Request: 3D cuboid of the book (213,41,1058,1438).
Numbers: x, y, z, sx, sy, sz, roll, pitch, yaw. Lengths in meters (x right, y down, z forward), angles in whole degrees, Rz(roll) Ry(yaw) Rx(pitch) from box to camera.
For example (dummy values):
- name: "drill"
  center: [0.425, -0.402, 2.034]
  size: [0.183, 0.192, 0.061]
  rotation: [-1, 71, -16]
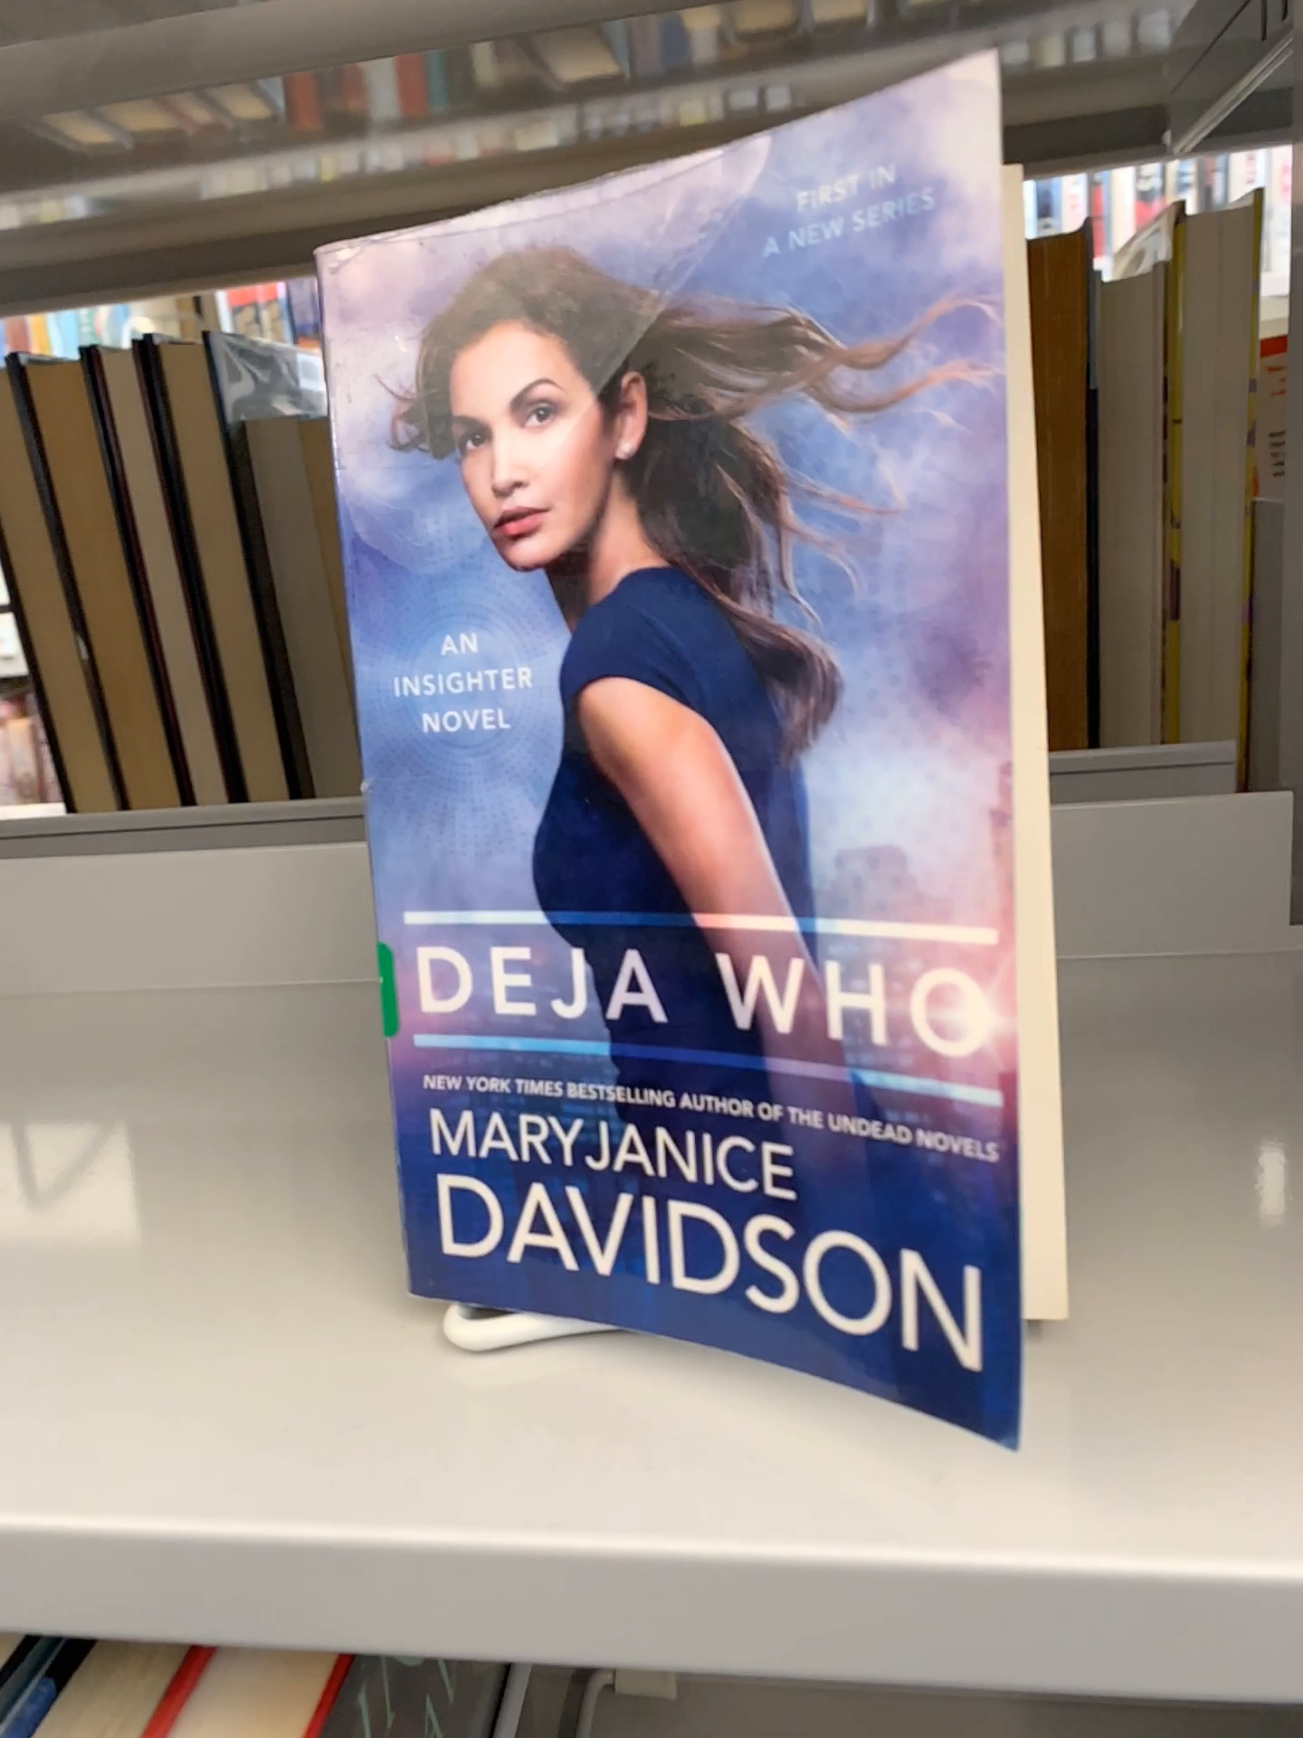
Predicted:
- name: "book"
  center: [-0.004, -0.017, 0.235]
  size: [0.136, 0.190, 0.047]
  rotation: [1, 4, 26]
